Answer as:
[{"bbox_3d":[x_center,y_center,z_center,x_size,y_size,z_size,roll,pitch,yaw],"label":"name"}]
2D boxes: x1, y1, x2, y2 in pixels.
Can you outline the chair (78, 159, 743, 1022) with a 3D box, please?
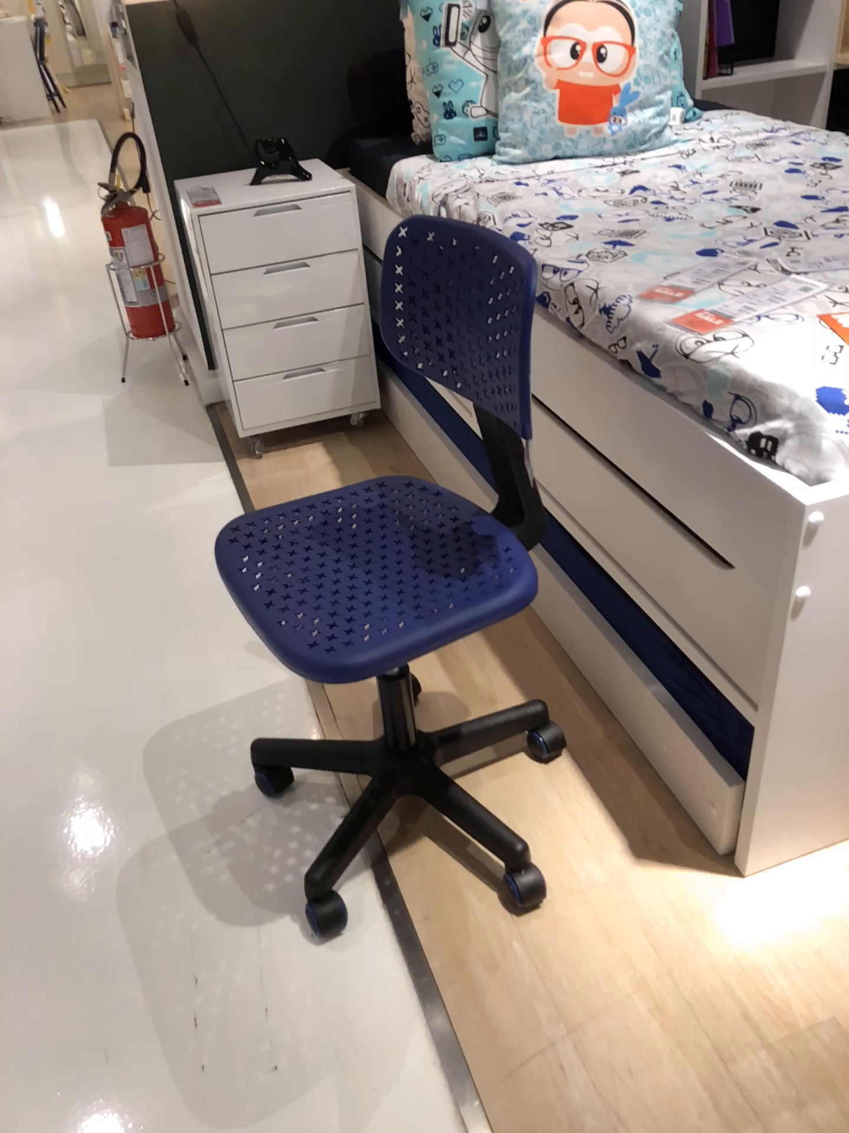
[{"bbox_3d":[-0.033,0.000,1.178,0.521,0.813,0.554,-17,35,-16],"label":"chair"}]
